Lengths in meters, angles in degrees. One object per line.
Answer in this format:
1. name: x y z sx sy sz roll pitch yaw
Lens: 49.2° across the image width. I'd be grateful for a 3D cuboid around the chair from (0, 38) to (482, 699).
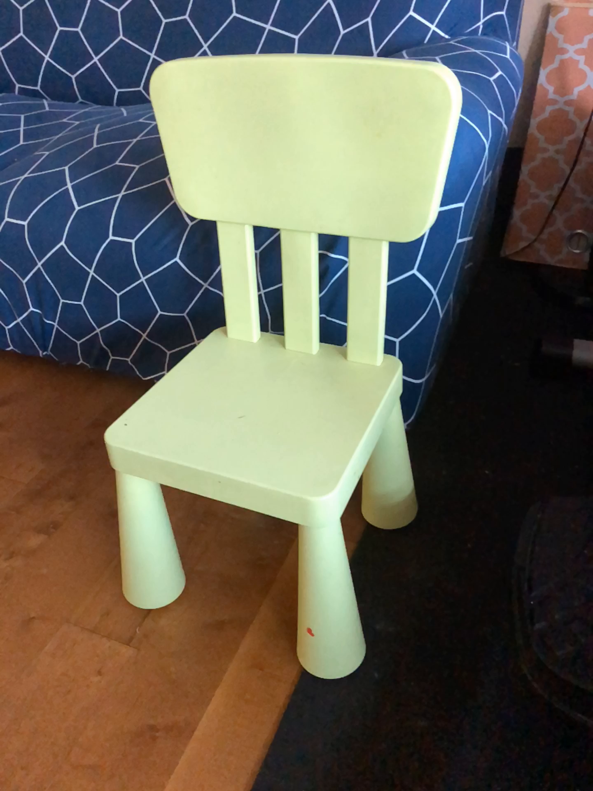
1. chair: -0.041 -0.048 0.800 0.391 0.636 0.412 11 38 19
